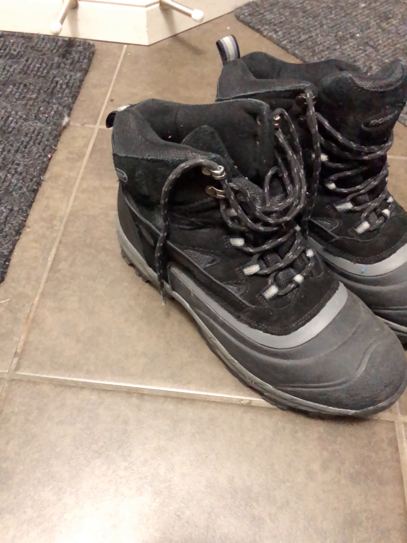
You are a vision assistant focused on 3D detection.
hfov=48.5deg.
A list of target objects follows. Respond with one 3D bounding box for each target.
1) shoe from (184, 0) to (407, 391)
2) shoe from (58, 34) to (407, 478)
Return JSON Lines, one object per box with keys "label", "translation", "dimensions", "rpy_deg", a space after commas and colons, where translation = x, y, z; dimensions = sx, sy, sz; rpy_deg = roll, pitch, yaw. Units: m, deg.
{"label": "shoe", "translation": [0.129, -0.069, 0.404], "dimensions": [0.290, 0.200, 0.120], "rpy_deg": [39, 62, 21]}
{"label": "shoe", "translation": [0.042, -0.011, 0.361], "dimensions": [0.290, 0.200, 0.120], "rpy_deg": [40, 63, 22]}
